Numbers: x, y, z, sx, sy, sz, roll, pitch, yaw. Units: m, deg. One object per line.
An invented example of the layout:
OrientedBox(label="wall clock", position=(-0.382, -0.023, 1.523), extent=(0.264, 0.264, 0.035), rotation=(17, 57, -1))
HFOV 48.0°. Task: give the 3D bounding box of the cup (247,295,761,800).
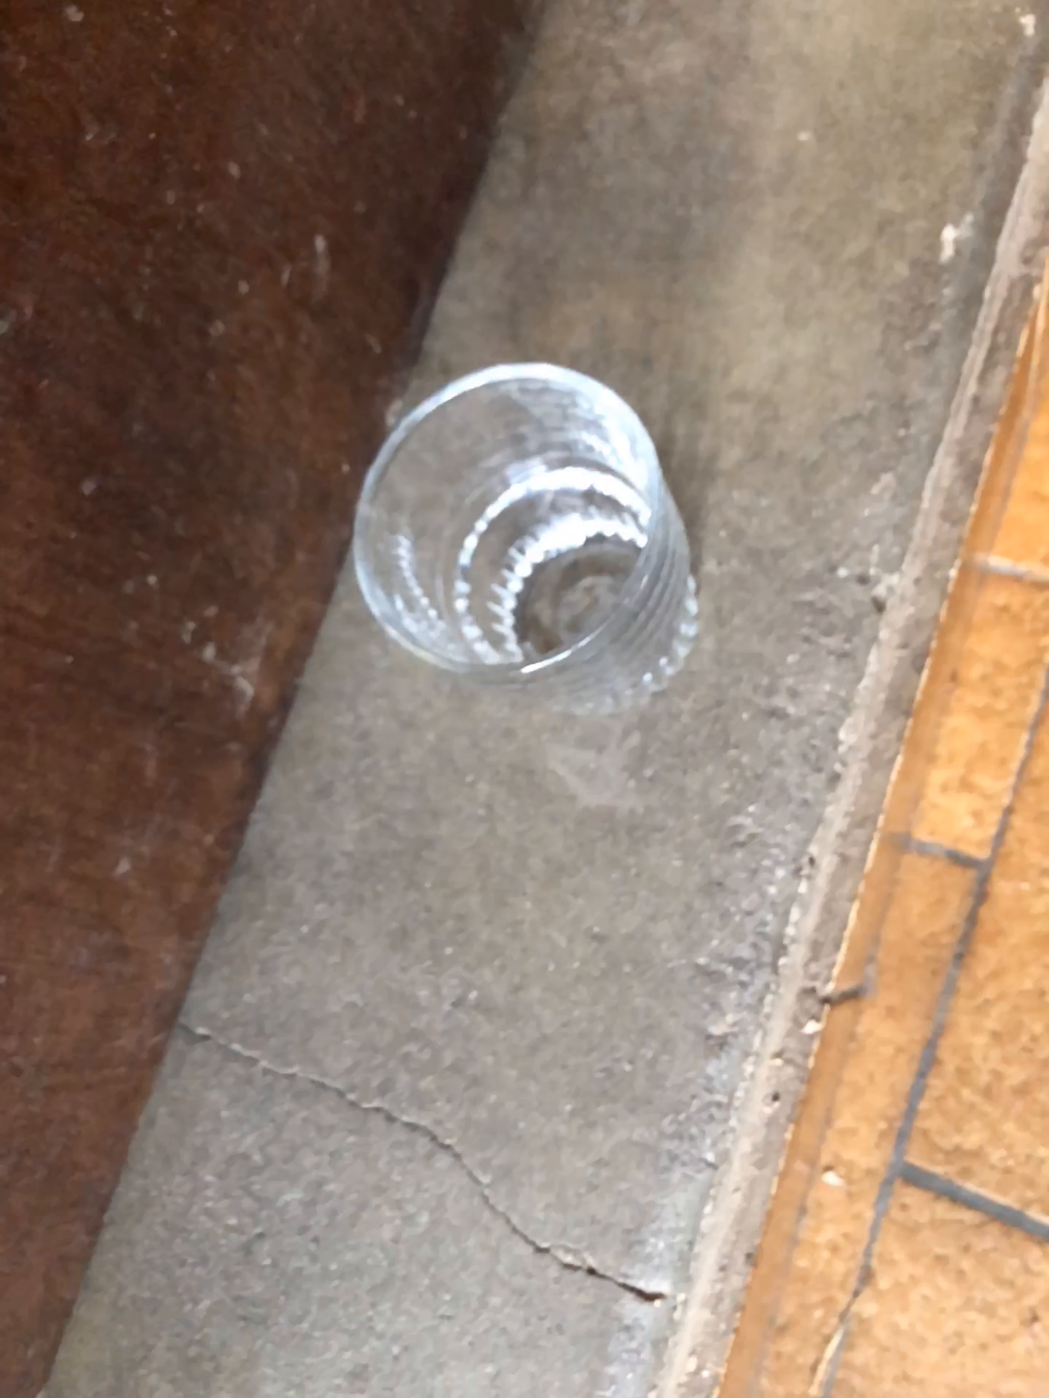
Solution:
OrientedBox(label="cup", position=(0.001, -0.030, 0.270), extent=(0.070, 0.080, 0.070), rotation=(-4, 77, 17))
